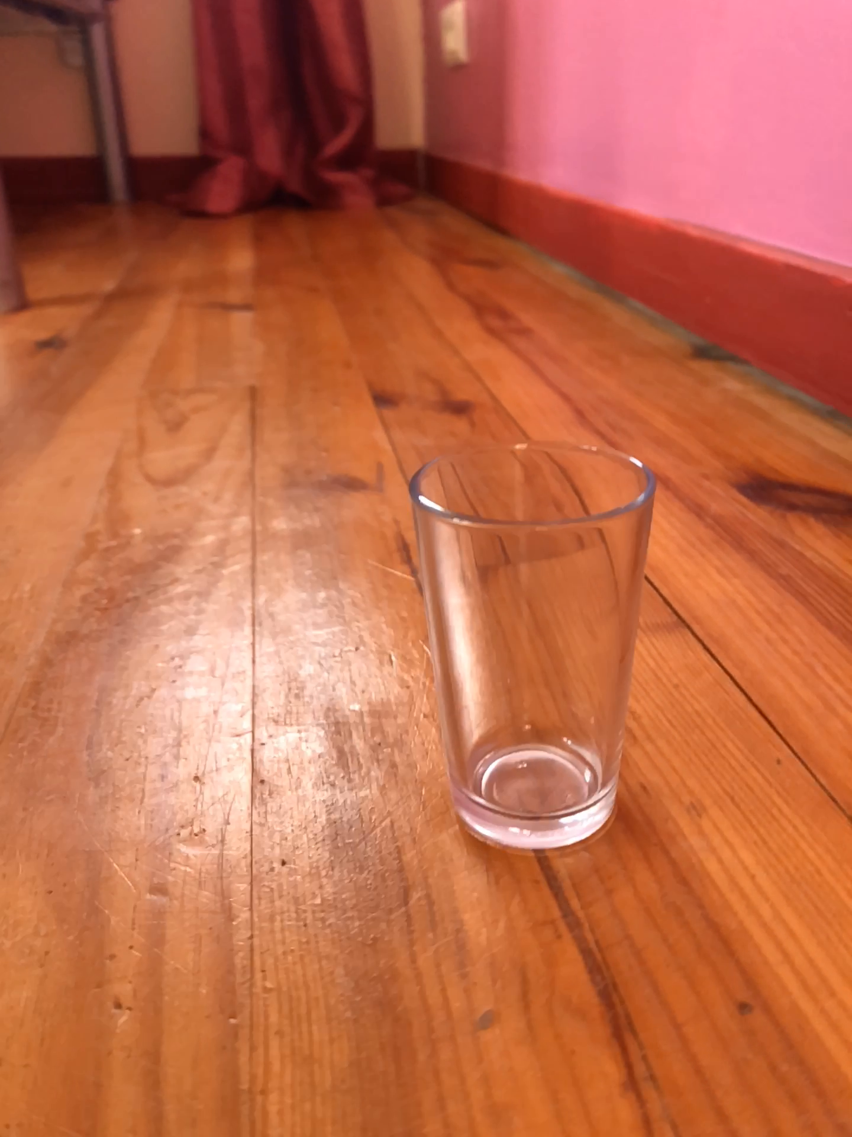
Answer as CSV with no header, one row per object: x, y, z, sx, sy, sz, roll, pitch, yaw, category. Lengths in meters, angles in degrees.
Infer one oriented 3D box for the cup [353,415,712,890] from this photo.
0.024,0.014,0.212,0.054,0.079,0.051,-2,24,1,cup
